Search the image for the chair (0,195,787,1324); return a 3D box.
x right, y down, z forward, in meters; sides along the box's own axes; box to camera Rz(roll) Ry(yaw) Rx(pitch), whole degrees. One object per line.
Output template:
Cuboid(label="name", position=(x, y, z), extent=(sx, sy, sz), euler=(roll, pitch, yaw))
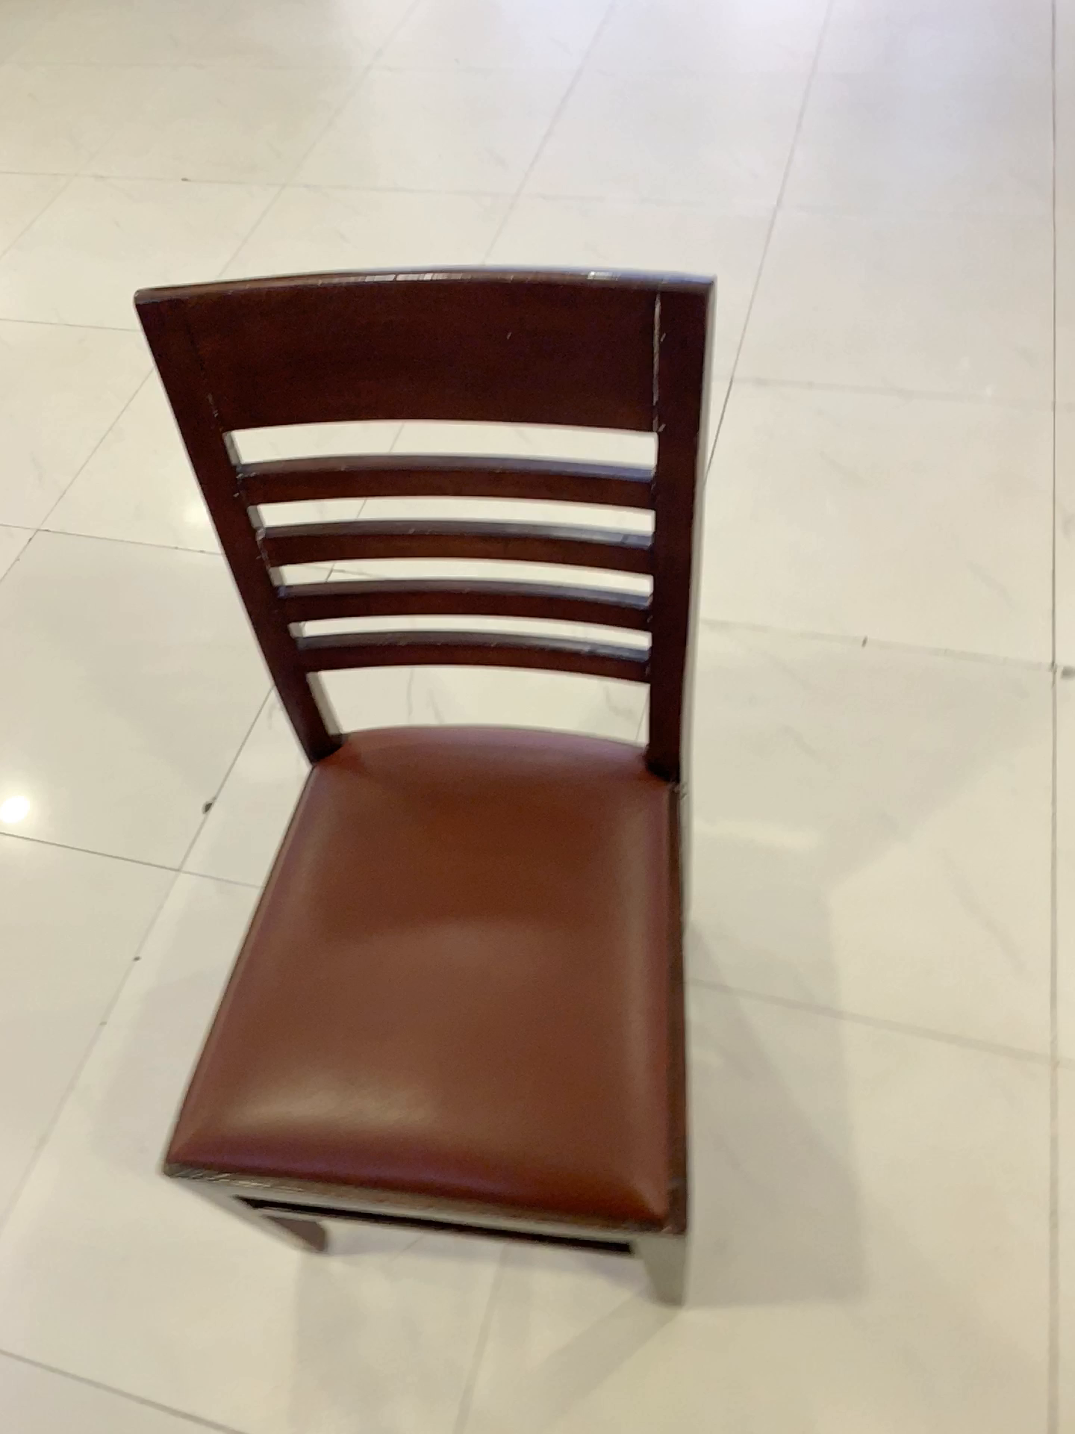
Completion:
Cuboid(label="chair", position=(-0.108, 0.100, 0.913), extent=(0.560, 0.785, 0.543), euler=(3, 54, 10))
